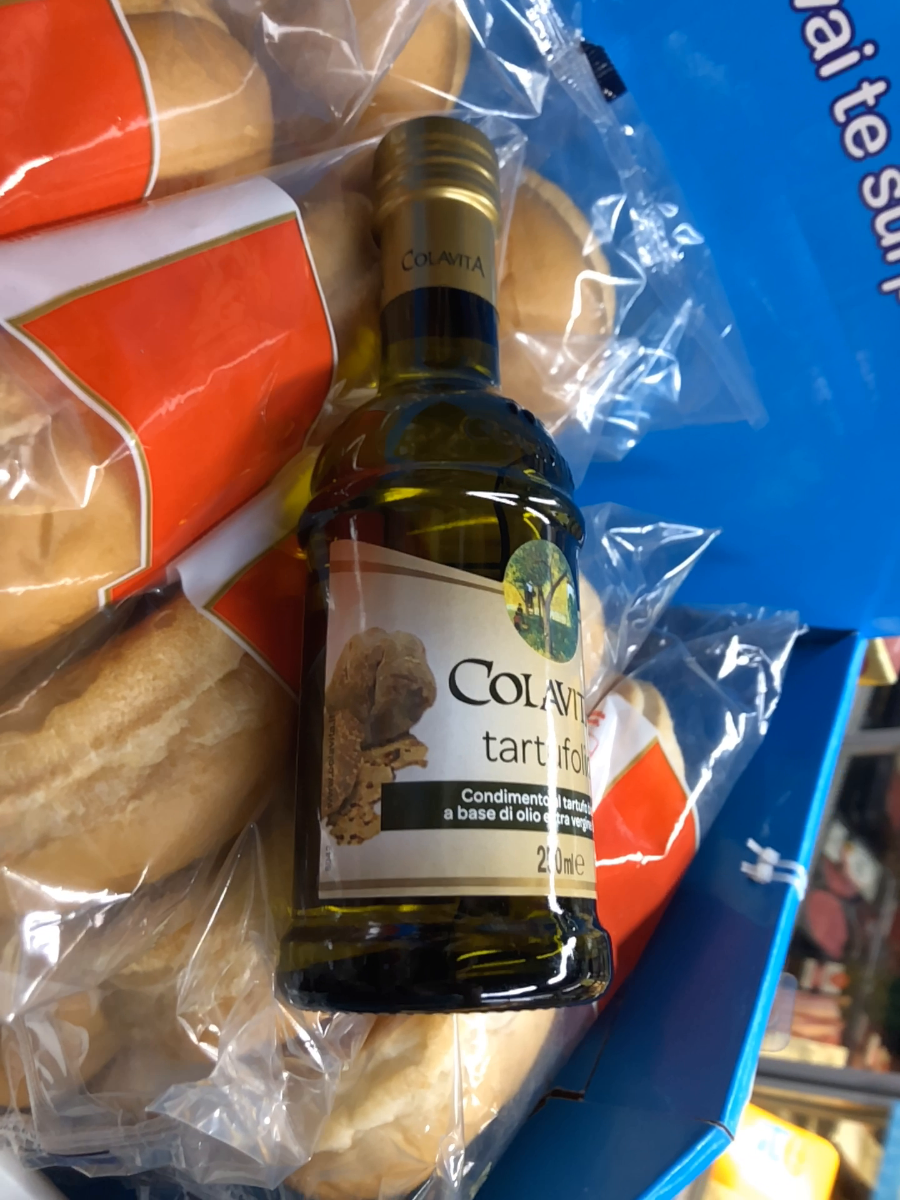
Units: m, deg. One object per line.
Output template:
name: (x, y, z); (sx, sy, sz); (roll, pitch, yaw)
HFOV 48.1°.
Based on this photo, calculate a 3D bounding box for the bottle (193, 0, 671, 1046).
bottle: (0.000, -0.024, 0.221); (0.070, 0.060, 0.210); (16, 69, -44)
